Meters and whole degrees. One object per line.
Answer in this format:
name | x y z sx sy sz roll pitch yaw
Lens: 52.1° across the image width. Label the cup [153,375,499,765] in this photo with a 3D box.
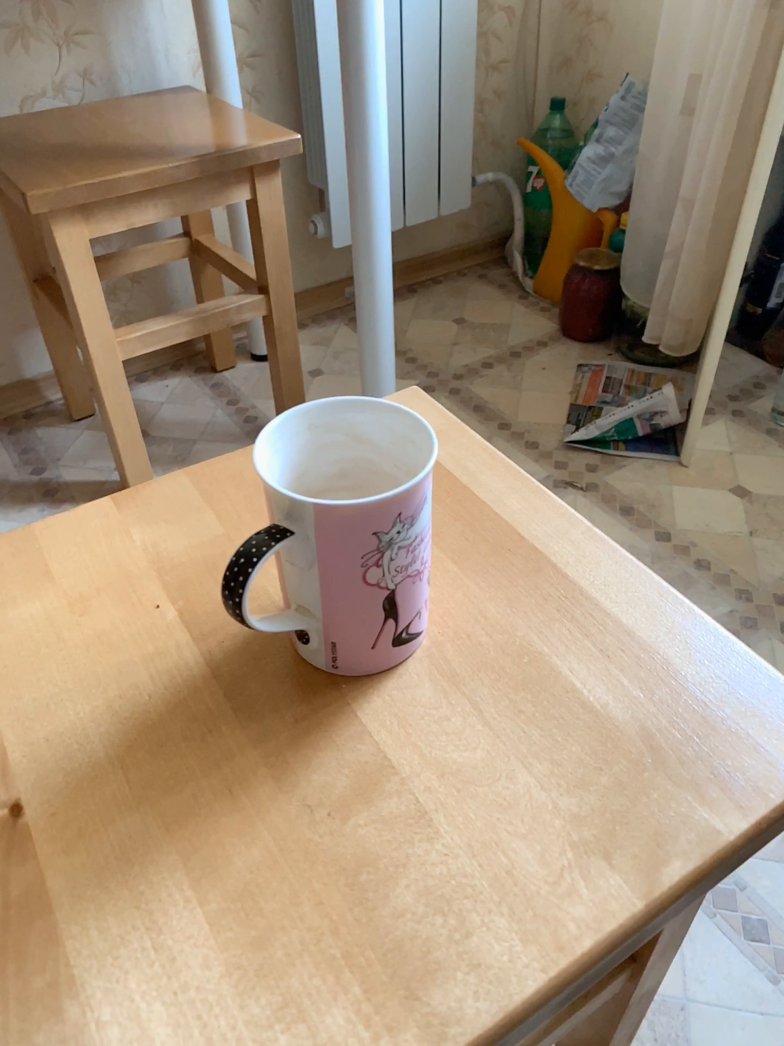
cup | -0.022 0.015 0.343 0.080 0.099 0.111 28 48 30
